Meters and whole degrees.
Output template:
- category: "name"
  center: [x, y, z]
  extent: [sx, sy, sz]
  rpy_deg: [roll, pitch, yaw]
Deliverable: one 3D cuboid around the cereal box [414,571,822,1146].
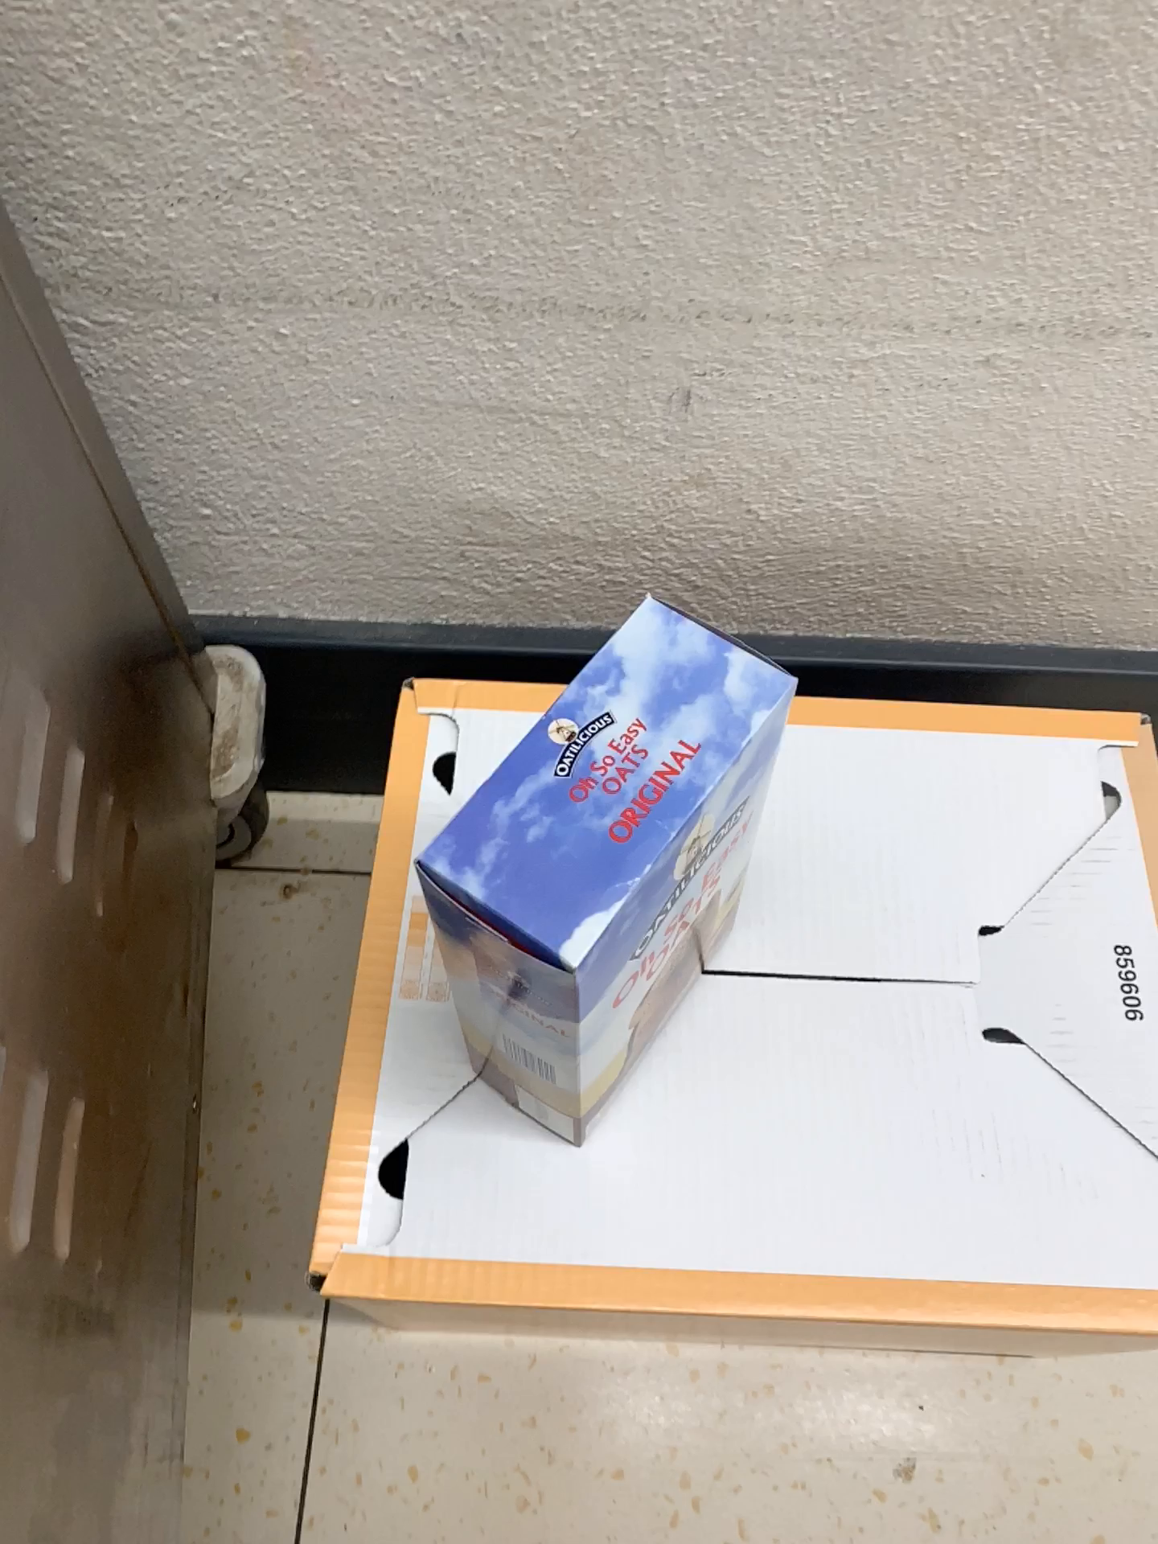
- category: "cereal box"
  center: [0.015, 0.048, 0.456]
  extent: [0.060, 0.219, 0.131]
  rpy_deg: [32, 66, 17]
